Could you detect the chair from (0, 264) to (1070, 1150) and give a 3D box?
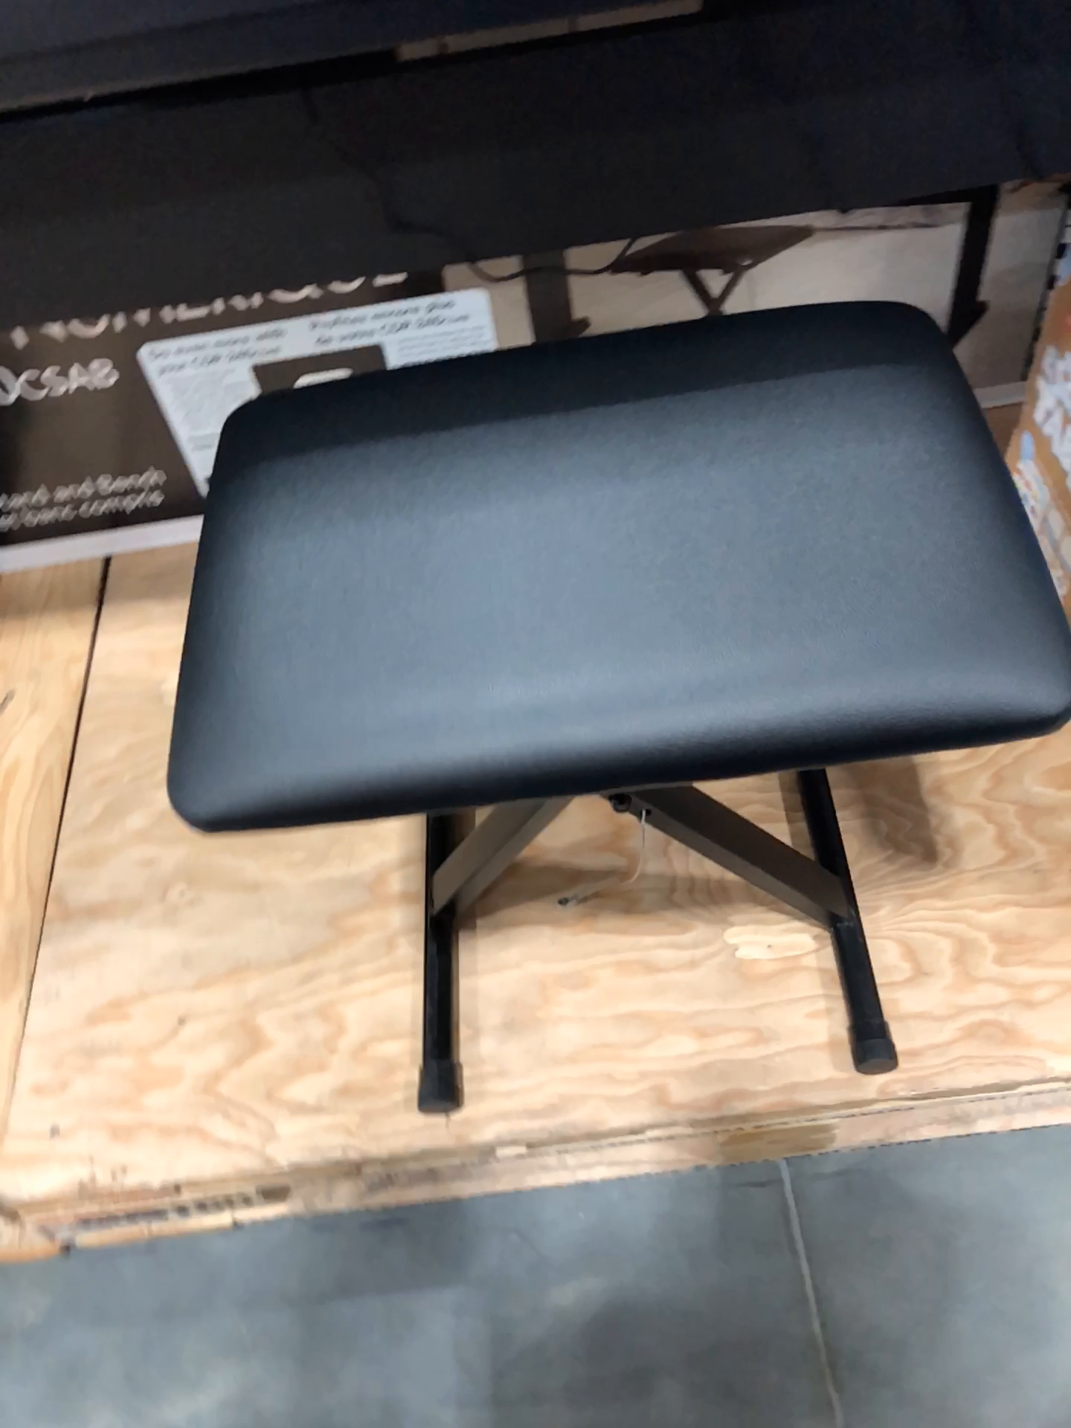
[{"bbox_3d":[0.029,0.002,0.692,0.510,0.279,0.371,-7,53,3],"label":"chair"}]
